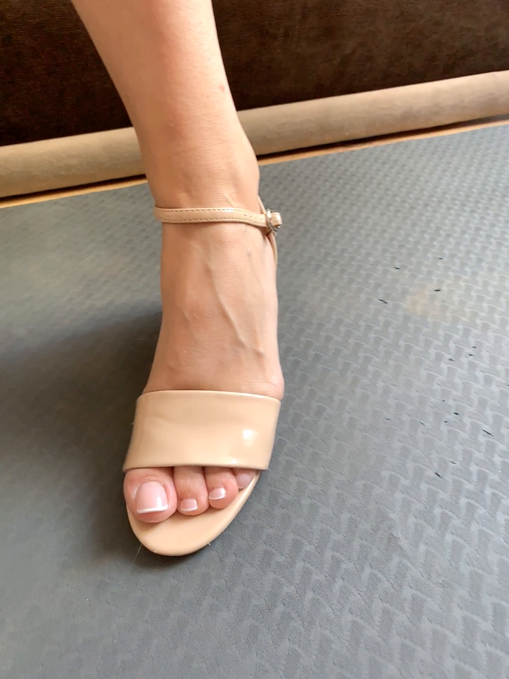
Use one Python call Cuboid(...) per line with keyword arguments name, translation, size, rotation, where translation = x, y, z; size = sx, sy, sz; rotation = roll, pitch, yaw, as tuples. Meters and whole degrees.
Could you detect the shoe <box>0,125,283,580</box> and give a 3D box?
Cuboid(name="shoe", translation=(-0.035, -0.018, 0.302), size=(0.090, 0.119, 0.251), rotation=(1, 41, 6))
